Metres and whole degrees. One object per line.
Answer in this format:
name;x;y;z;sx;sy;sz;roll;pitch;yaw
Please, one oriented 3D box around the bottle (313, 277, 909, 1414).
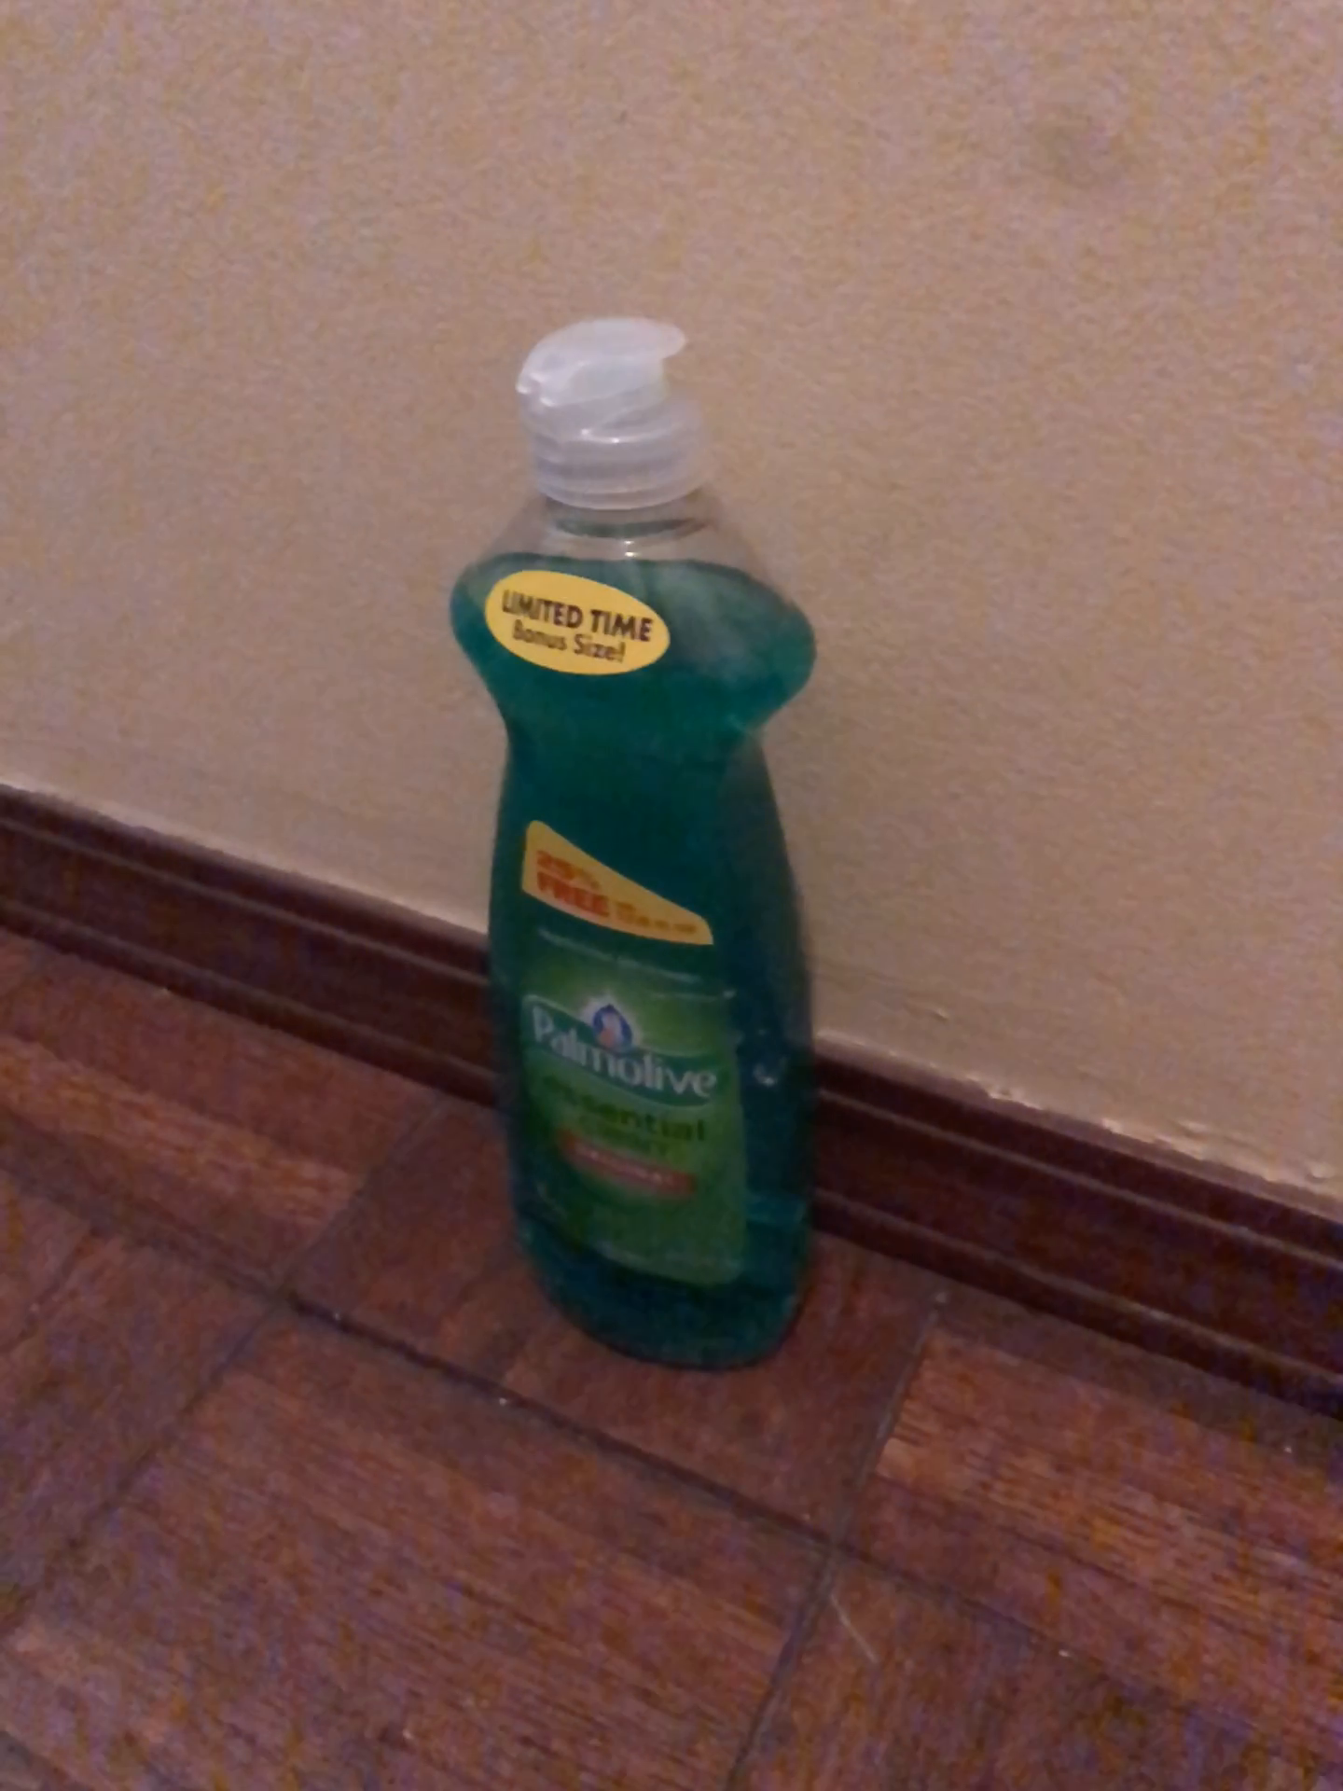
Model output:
bottle;-0.005;0.004;0.305;0.080;0.229;0.050;15;40;21
